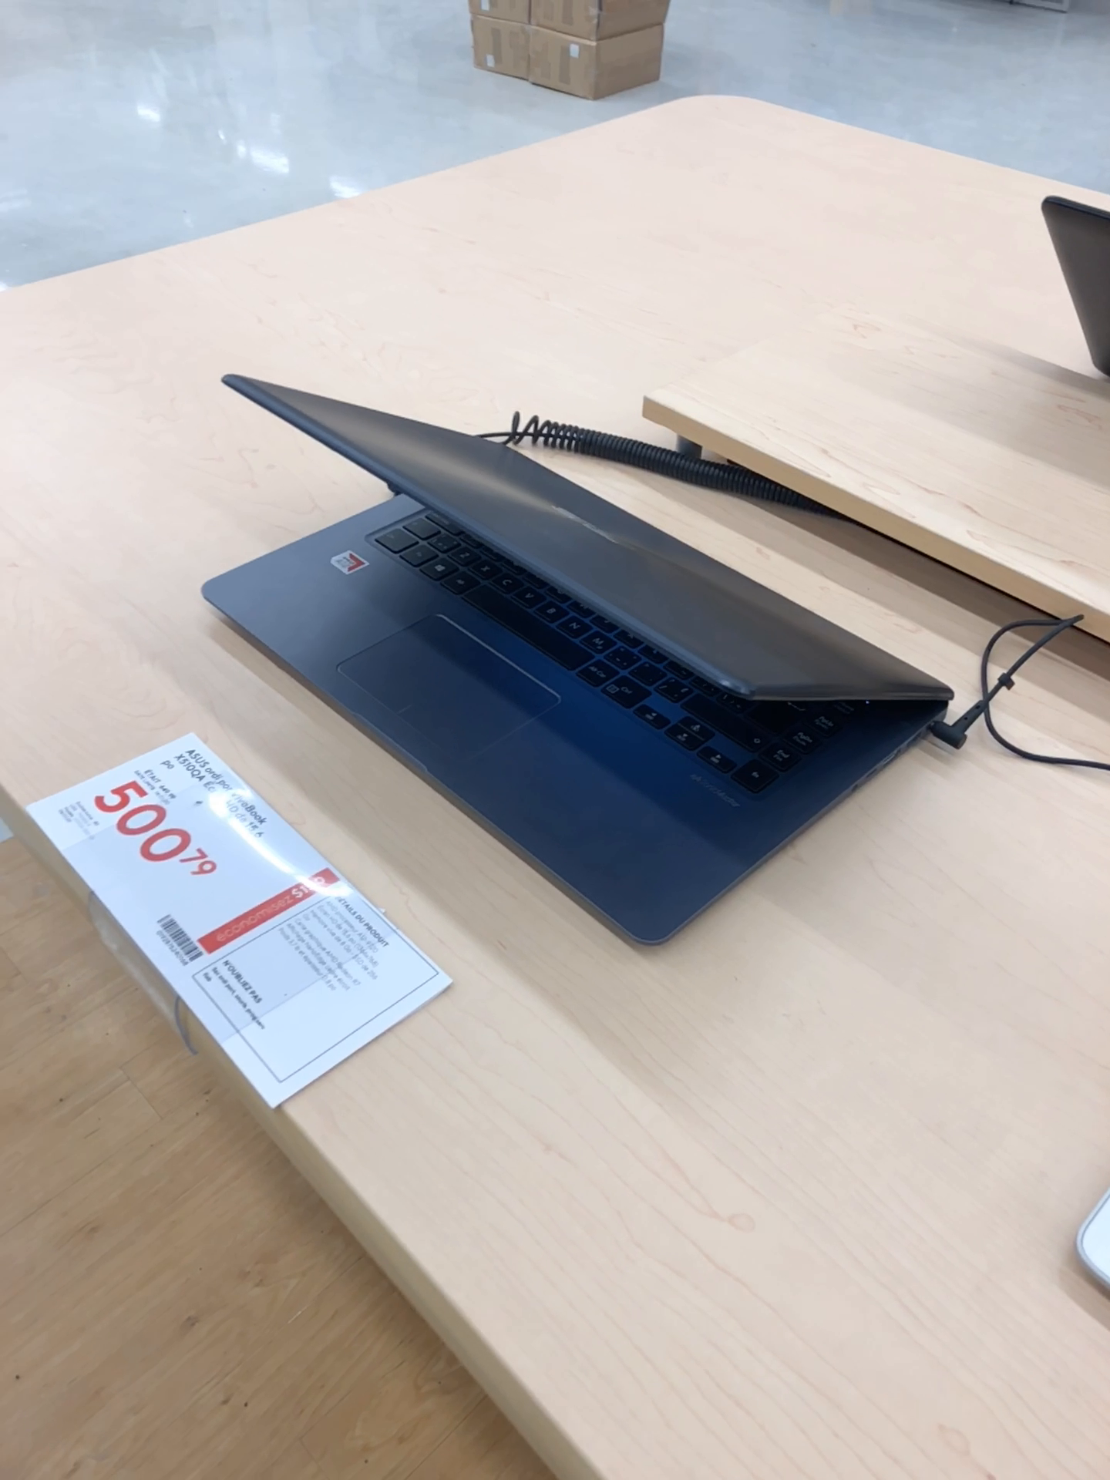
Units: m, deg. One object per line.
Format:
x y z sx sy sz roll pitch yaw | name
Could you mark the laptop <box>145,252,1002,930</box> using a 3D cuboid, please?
0.000 -0.106 0.633 0.232 0.136 0.345 -33 53 -32 | laptop
